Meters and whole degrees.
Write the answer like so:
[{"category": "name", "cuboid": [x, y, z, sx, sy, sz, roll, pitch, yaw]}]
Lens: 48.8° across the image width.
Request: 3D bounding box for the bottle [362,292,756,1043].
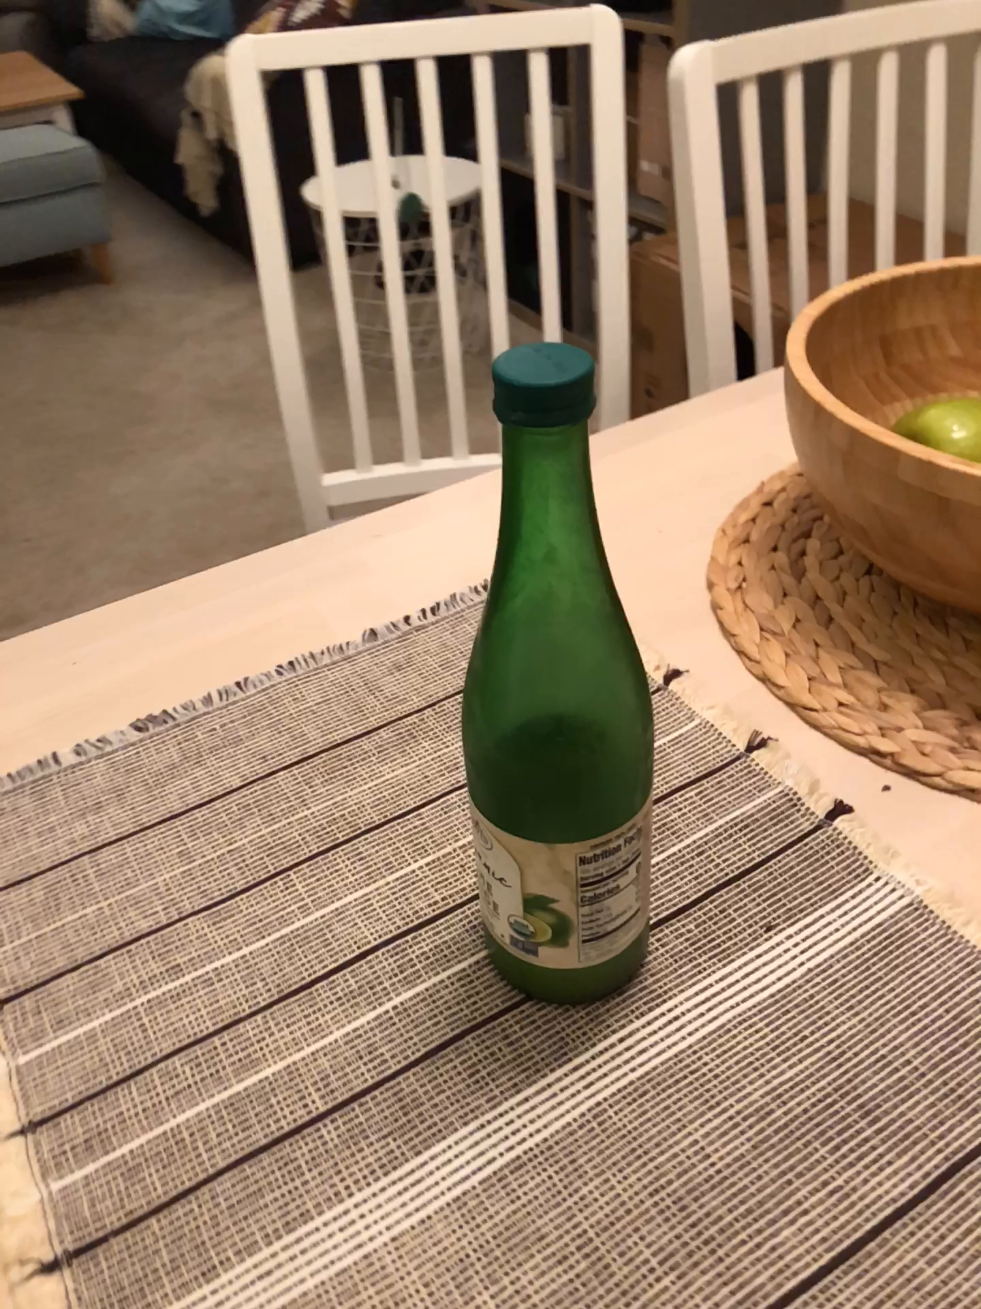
[{"category": "bottle", "cuboid": [0.021, 0.016, 0.360, 0.081, 0.236, 0.080, -3, 38, 2]}]
